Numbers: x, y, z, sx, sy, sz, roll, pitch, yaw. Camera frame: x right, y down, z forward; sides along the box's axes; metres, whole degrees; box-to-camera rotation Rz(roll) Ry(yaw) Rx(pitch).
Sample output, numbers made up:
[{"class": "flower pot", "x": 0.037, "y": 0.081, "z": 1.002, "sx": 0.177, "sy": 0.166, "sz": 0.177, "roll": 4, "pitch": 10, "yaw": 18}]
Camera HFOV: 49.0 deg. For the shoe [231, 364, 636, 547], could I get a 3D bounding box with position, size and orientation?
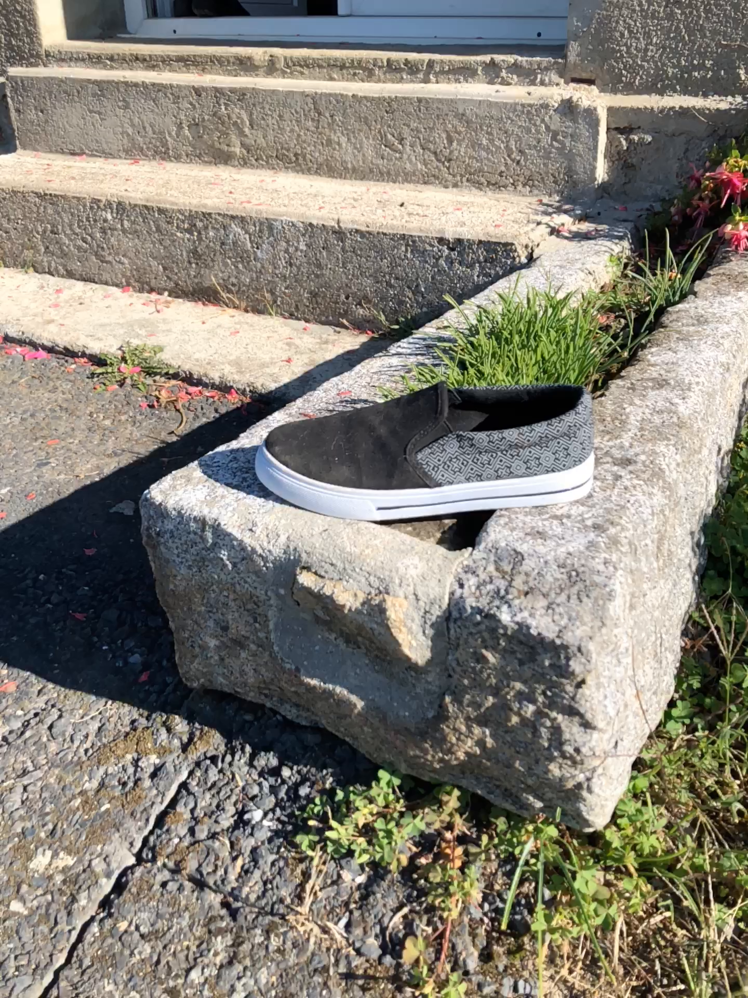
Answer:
[{"class": "shoe", "x": 0.041, "y": -0.035, "z": 0.589, "sx": 0.260, "sy": 0.080, "sz": 0.101, "roll": 4, "pitch": 30, "yaw": 6}]
